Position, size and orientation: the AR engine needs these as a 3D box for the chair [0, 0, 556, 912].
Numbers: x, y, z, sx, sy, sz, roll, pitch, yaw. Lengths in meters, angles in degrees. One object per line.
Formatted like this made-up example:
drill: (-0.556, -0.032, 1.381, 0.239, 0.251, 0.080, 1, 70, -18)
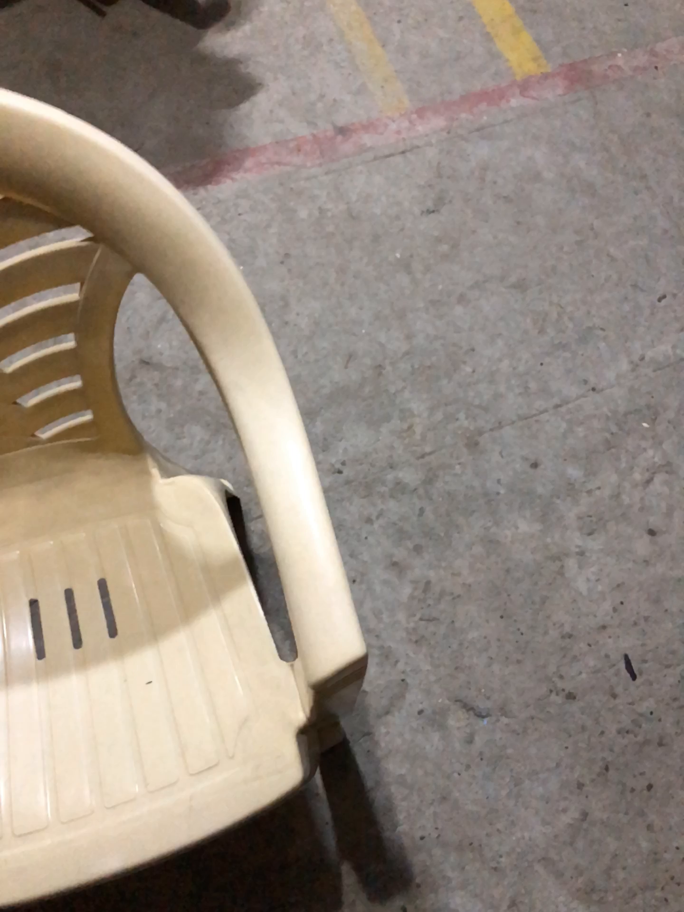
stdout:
chair: (-0.295, 0.147, 0.731, 0.561, 0.868, 0.561, -13, 73, -9)
